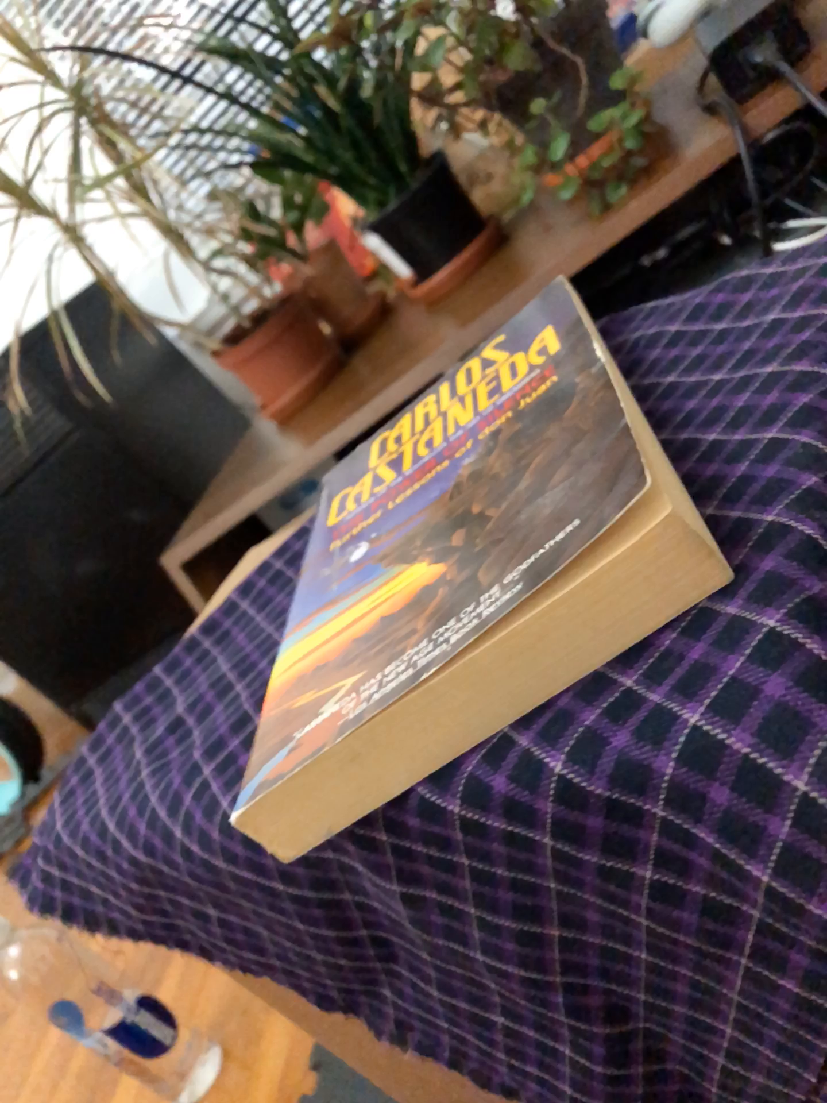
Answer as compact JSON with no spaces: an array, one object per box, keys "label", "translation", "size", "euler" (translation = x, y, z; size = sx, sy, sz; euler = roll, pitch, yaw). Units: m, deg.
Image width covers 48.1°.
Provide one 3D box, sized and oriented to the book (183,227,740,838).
[{"label":"book","translation":[0.008,-0.028,0.310],"size":[0.150,0.020,0.221],"euler":[-36,22,21]}]
